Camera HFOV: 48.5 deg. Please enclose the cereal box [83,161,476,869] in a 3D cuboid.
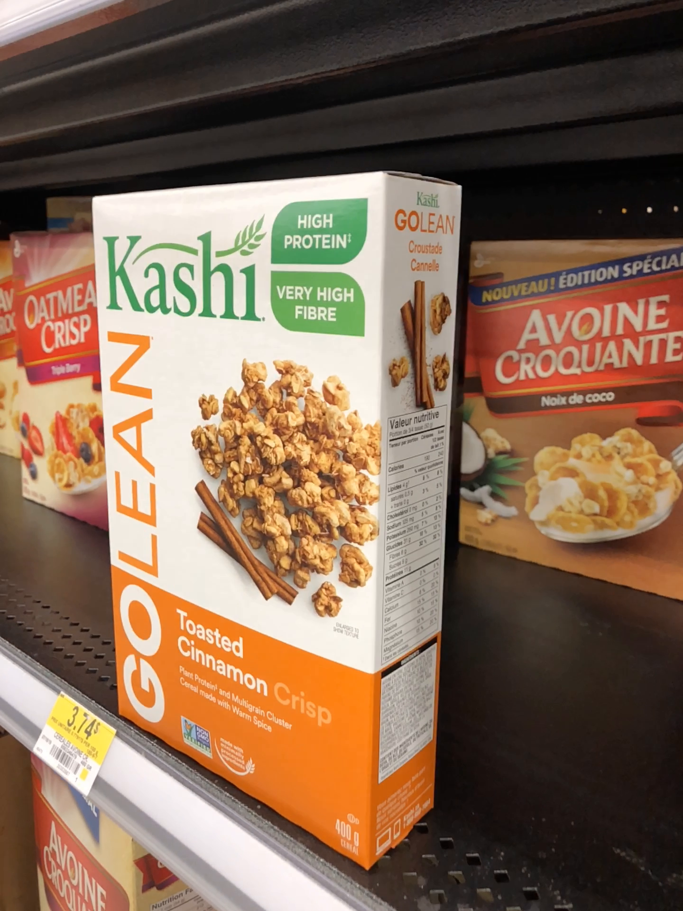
[{"bbox_3d":[-0.036,0.014,0.328,0.170,0.249,0.050,12,16,39],"label":"cereal box"}]
